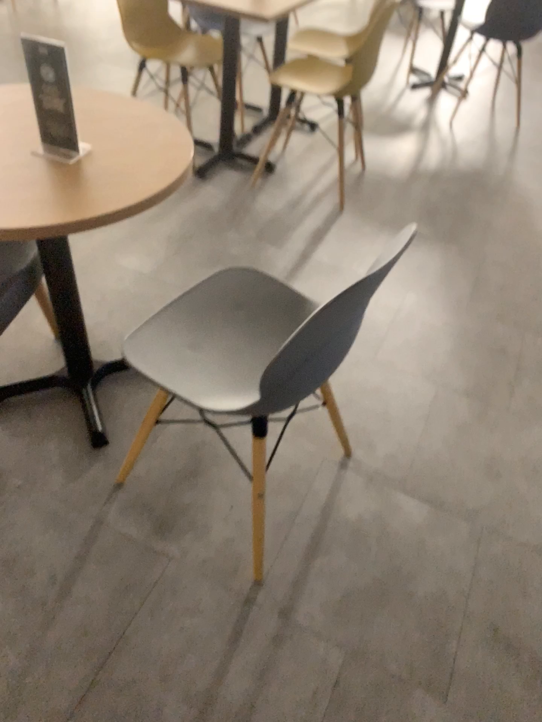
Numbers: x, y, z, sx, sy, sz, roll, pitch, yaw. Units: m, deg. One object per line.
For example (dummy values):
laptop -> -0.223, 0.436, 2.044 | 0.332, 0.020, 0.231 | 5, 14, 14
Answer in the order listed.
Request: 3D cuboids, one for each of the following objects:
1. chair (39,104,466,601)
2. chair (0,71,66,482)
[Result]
chair -> -0.037, -0.006, 1.209 | 0.521, 0.802, 0.508 | 27, 48, 20
chair -> -0.938, -0.193, 1.383 | 0.510, 0.753, 0.560 | 10, 44, 4
